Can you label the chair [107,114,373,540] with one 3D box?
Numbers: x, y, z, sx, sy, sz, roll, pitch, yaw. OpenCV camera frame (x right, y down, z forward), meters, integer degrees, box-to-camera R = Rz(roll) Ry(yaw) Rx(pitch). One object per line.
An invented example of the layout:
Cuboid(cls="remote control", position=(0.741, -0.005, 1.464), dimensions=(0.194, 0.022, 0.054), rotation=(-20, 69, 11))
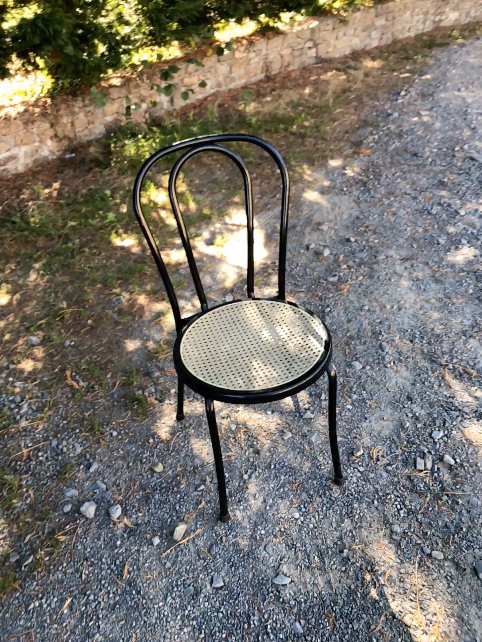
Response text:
Cuboid(cls="chair", position=(0.007, 0.016, 1.330), dimensions=(0.431, 0.875, 0.472), rotation=(-15, 34, -11))
